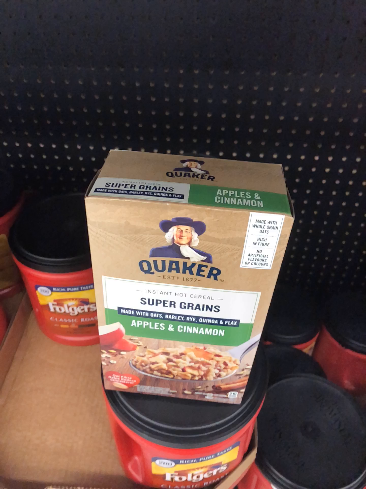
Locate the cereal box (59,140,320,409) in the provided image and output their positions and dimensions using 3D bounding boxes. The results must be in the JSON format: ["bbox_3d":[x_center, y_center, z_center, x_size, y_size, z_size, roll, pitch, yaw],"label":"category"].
[{"bbox_3d":[0.002,0.034,0.305,0.140,0.199,0.060,6,40,4],"label":"cereal box"}]
